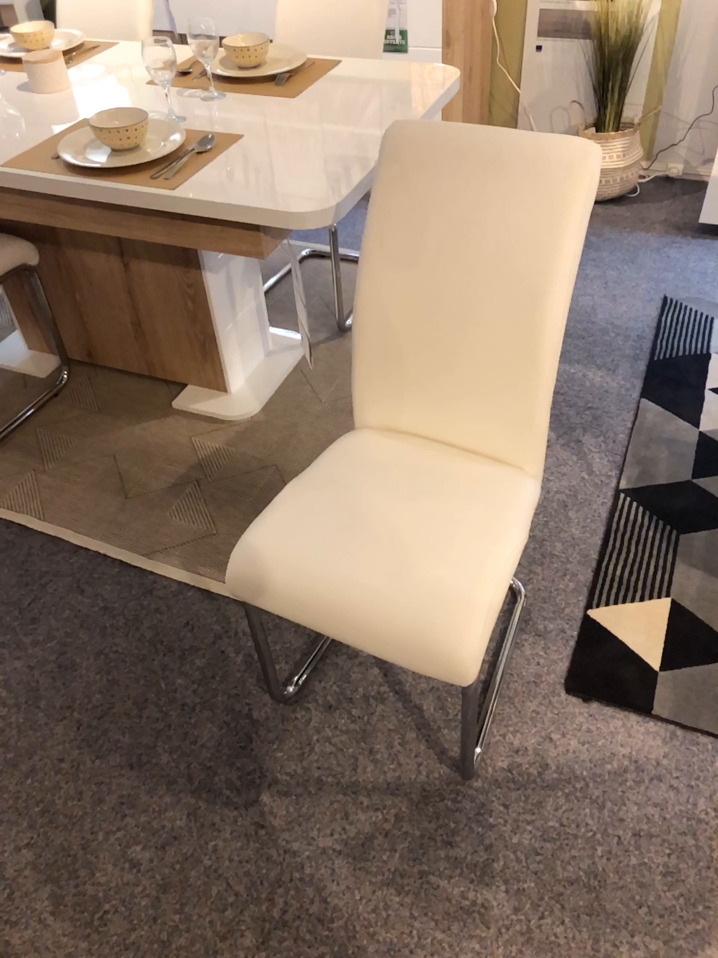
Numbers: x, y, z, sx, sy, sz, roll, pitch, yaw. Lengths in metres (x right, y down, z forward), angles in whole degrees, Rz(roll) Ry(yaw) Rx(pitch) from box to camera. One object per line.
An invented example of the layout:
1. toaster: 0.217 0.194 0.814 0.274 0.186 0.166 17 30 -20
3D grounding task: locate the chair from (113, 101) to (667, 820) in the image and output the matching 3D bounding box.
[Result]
1. chair: 0.099 -0.008 1.258 0.500 0.925 0.553 14 45 19
